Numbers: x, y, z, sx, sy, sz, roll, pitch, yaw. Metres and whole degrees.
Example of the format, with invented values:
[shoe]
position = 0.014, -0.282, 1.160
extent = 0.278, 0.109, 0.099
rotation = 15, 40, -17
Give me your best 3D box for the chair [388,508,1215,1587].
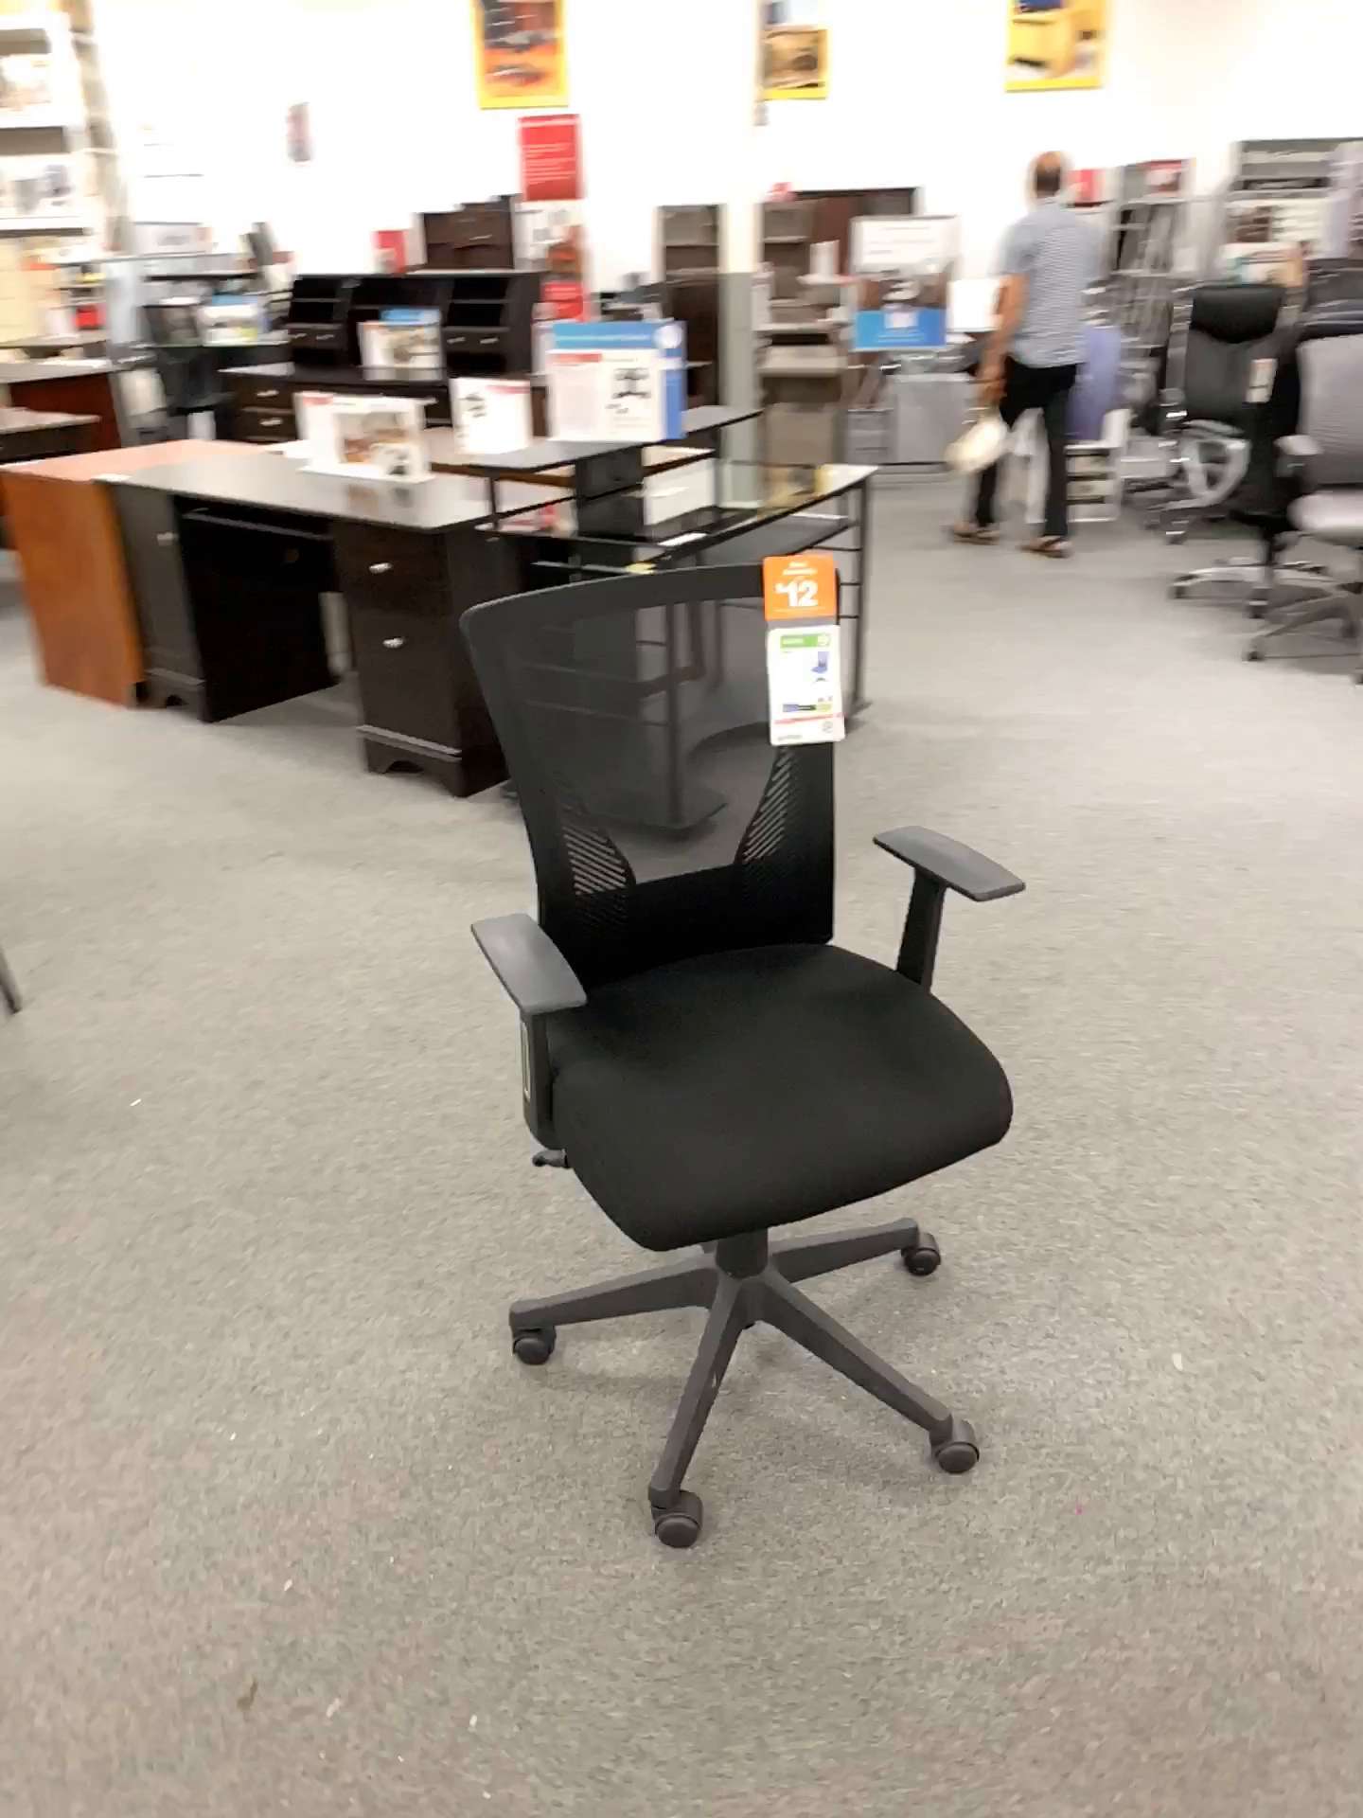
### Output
[chair]
position = 0.083, 0.108, 1.669
extent = 0.670, 0.995, 0.643
rotation = -9, 27, -16
